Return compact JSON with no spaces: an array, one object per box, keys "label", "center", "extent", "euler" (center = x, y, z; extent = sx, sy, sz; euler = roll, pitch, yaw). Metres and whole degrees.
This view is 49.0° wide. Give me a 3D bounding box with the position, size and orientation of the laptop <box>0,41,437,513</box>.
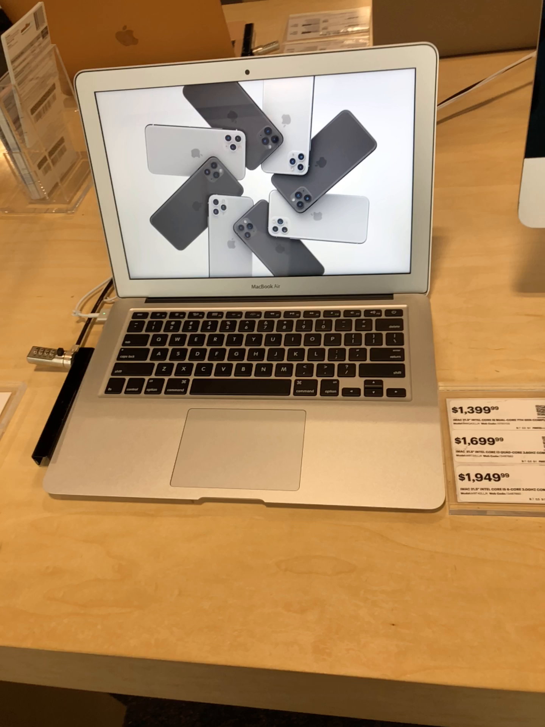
[{"label":"laptop","center":[-0.041,-0.076,0.495],"extent":[0.324,0.202,0.310],"euler":[1,49,13]}]
